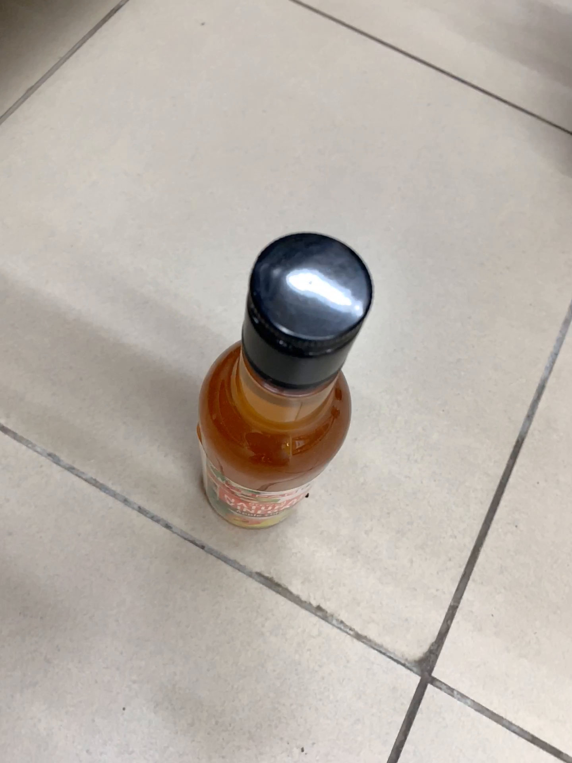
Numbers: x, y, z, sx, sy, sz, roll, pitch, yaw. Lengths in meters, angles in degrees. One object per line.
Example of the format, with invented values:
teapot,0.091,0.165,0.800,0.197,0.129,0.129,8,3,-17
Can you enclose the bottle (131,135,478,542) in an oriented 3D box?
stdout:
bottle,-0.003,0.015,0.231,0.070,0.220,0.060,7,68,-3
